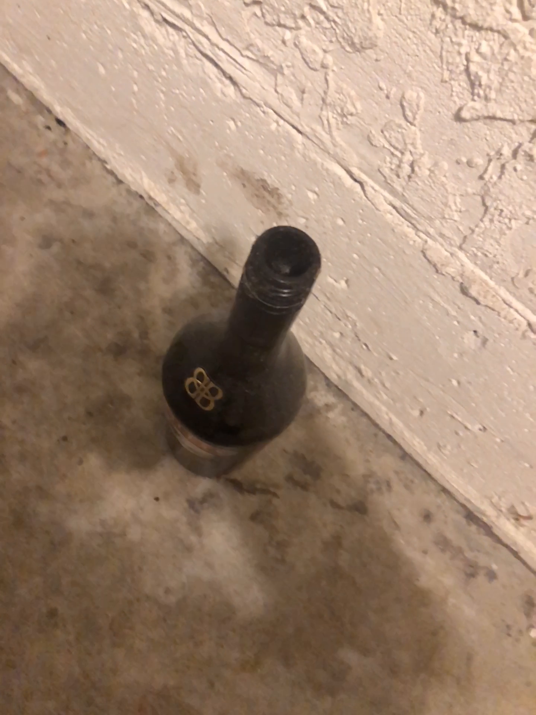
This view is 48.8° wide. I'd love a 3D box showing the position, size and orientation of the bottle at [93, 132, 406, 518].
[{"bbox_3d":[-0.027,0.012,0.341,0.080,0.259,0.090,-39,78,-23],"label":"bottle"}]
